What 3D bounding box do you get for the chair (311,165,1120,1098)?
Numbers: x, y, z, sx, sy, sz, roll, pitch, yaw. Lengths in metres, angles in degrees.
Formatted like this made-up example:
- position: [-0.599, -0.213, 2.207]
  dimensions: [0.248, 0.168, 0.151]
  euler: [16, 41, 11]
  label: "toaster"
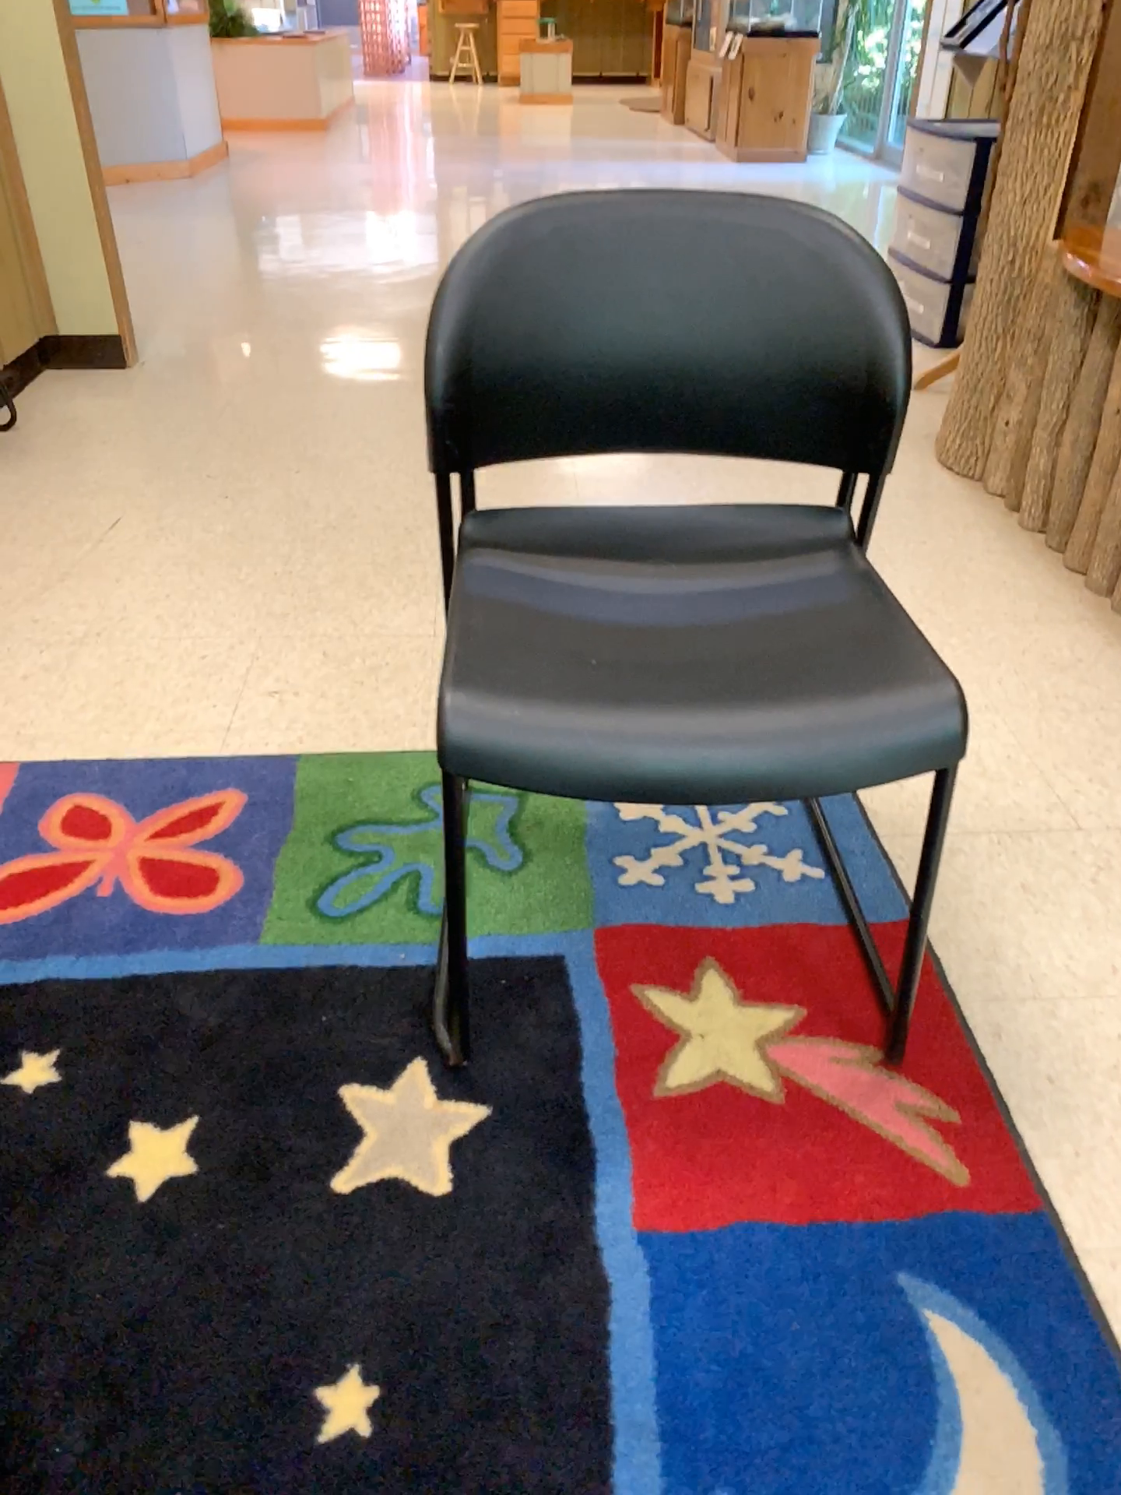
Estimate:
- position: [0.103, -0.132, 1.180]
  dimensions: [0.570, 0.785, 0.533]
  euler: [-2, 33, -4]
  label: "chair"
